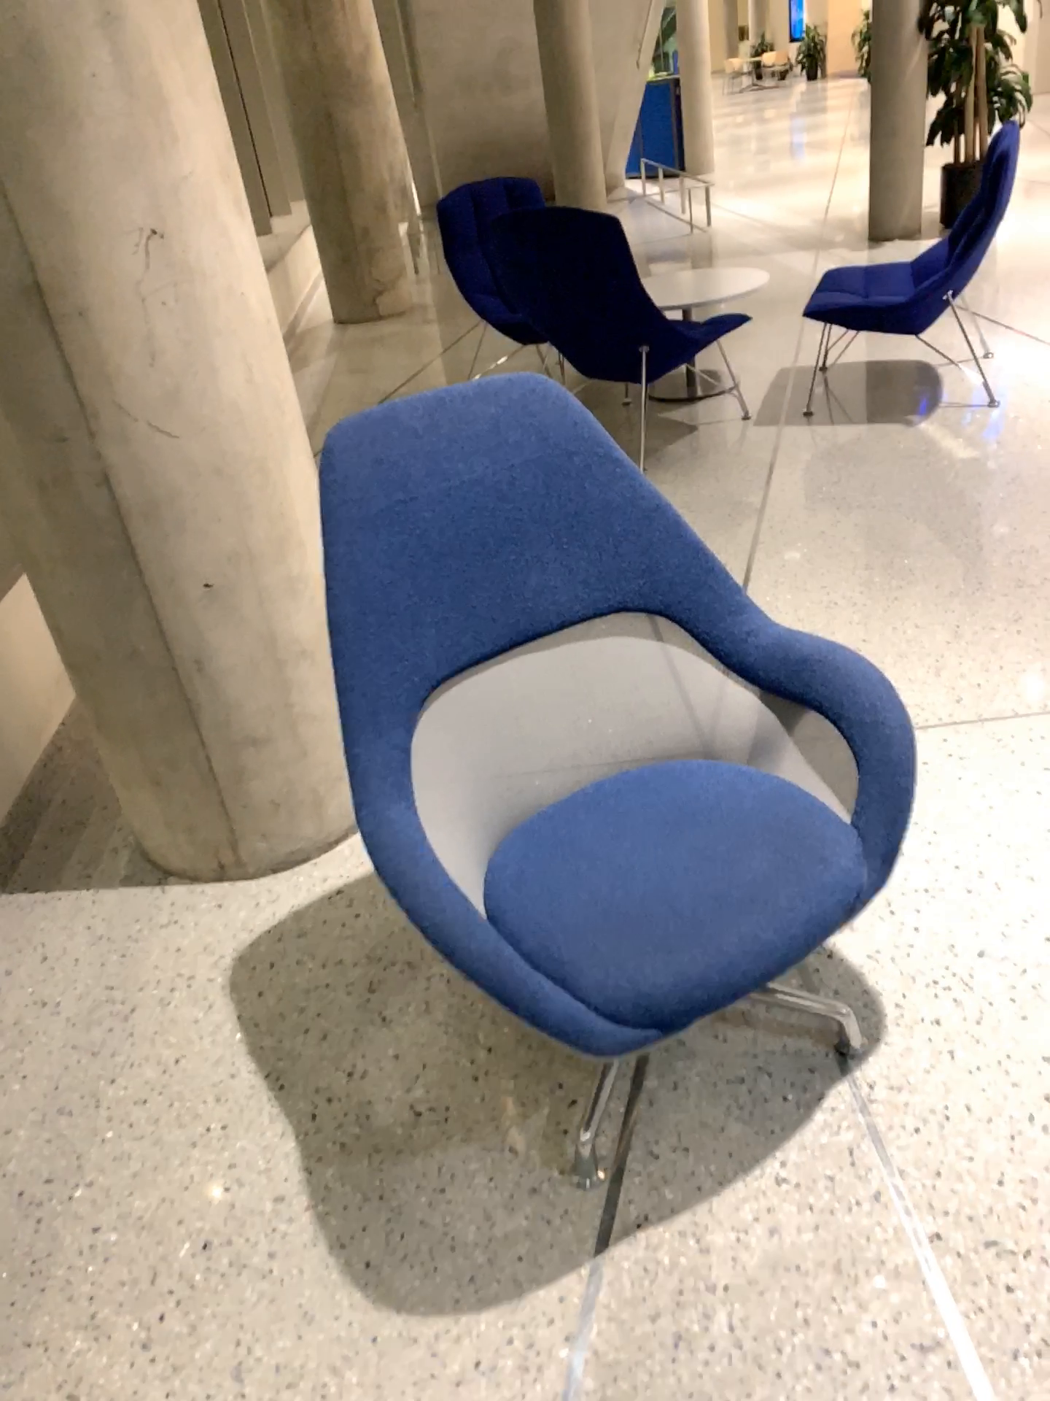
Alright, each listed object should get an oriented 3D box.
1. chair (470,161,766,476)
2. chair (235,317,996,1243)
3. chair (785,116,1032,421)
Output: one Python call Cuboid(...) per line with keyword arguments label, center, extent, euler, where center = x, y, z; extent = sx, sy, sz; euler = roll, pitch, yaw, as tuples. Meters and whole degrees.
Cuboid(label="chair", center=(0.353, -1.368, 3.771), extent=(0.697, 0.854, 0.681), euler=(-31, 36, -33))
Cuboid(label="chair", center=(0.124, 0.058, 1.536), extent=(0.716, 0.961, 0.639), euler=(-20, 31, -17))
Cuboid(label="chair", center=(1.355, -1.547, 3.811), extent=(0.725, 0.834, 0.744), euler=(2, 32, 20))
